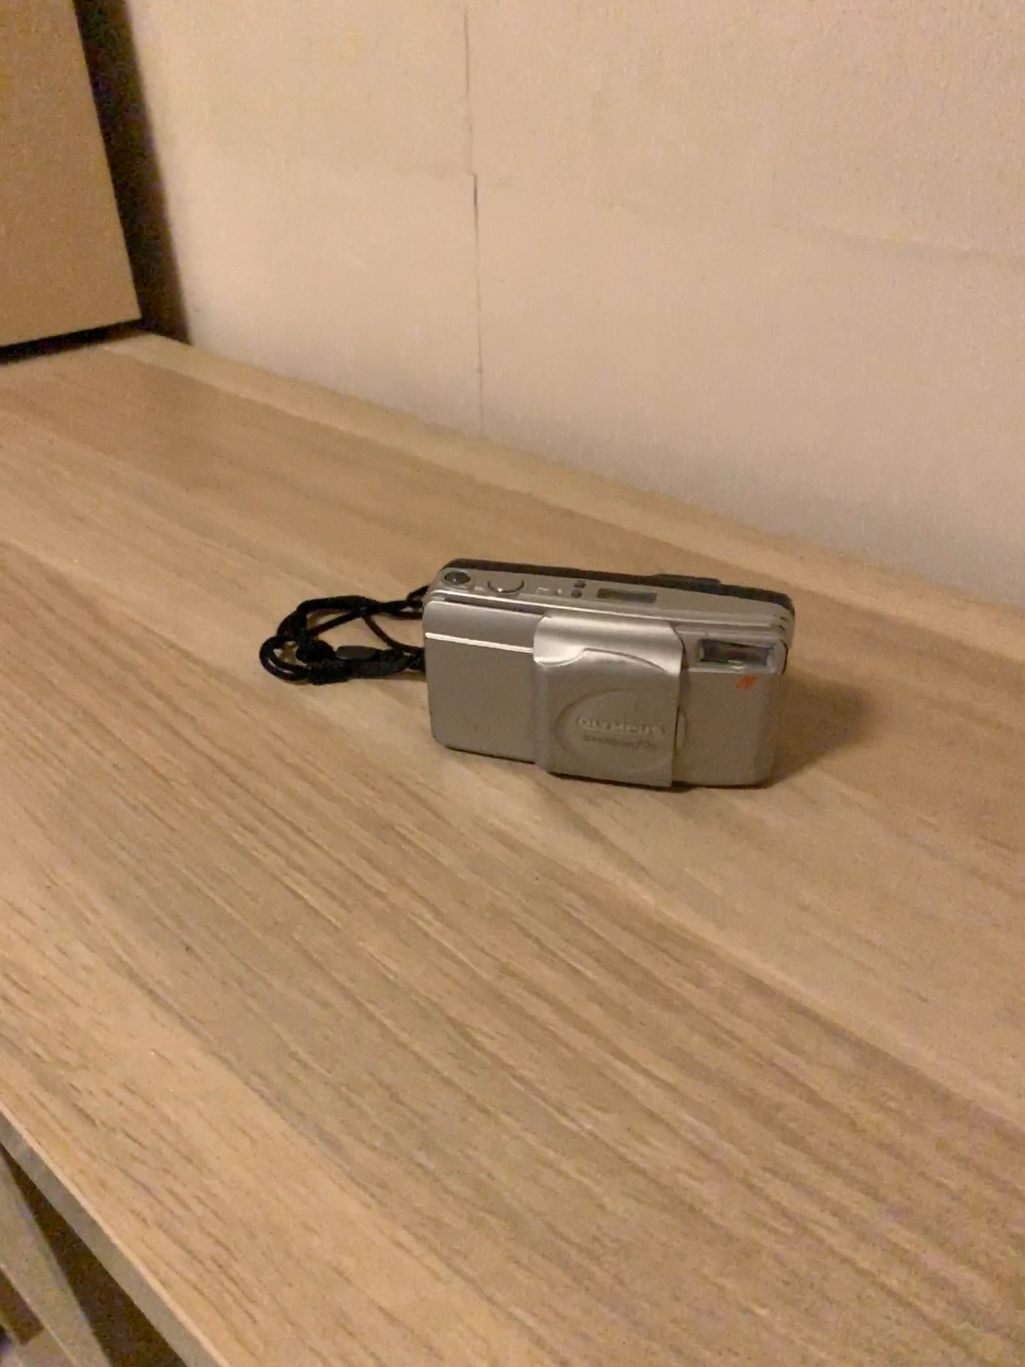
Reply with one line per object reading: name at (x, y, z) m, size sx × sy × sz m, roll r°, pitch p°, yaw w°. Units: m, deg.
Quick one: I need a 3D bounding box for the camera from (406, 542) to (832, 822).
camera at (0.034, -0.003, 0.345) m, size 0.126 × 0.059 × 0.046 m, roll 8°, pitch 35°, yaw 12°
